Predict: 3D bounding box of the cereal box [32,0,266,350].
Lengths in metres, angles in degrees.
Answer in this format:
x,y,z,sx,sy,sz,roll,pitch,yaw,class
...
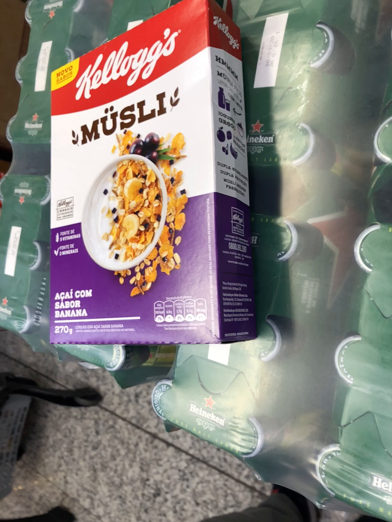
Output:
x,y,z,sx,sy,sz,roll,pitch,yaw,class
-0.039,-0.043,0.274,0.151,0.040,0.190,-7,81,34,cereal box
